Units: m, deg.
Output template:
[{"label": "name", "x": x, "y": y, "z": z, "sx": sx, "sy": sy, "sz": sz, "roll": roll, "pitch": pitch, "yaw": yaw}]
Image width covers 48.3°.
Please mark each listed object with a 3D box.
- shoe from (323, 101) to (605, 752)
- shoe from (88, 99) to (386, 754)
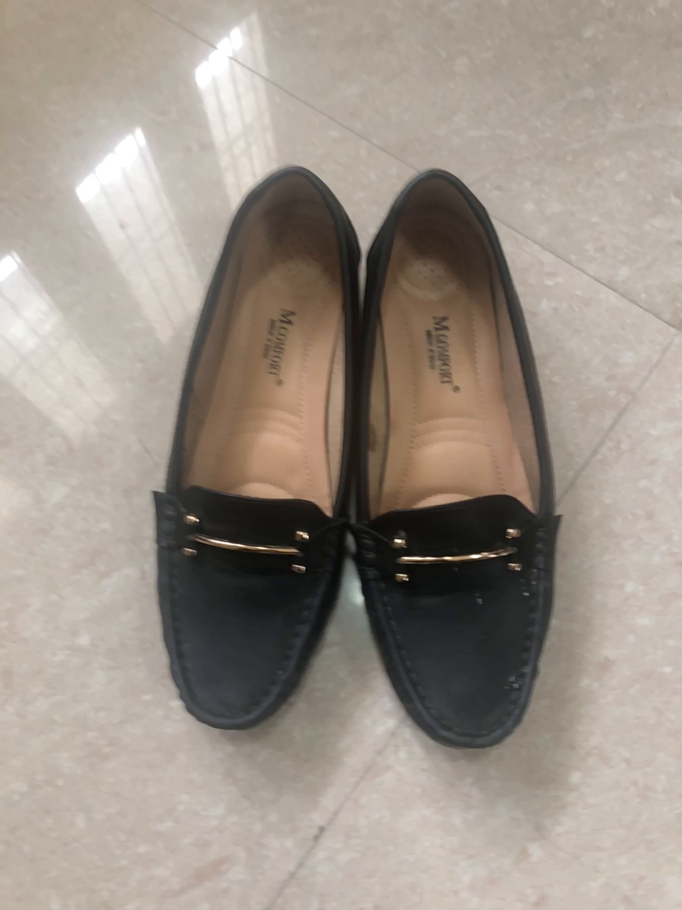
[{"label": "shoe", "x": 0.048, "y": -0.021, "z": 0.383, "sx": 0.100, "sy": 0.080, "sz": 0.310, "roll": -3, "pitch": 72, "yaw": 1}, {"label": "shoe", "x": -0.037, "y": -0.022, "z": 0.382, "sx": 0.100, "sy": 0.080, "sz": 0.310, "roll": 3, "pitch": 72, "yaw": 3}]
